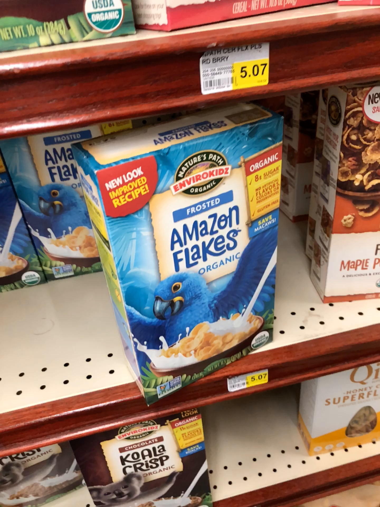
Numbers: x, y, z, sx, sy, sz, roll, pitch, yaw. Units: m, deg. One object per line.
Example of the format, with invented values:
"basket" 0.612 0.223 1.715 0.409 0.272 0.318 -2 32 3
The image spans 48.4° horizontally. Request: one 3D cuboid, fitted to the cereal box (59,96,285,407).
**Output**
"cereal box" -0.002 0.009 0.395 0.160 0.259 0.060 -22 40 -19
